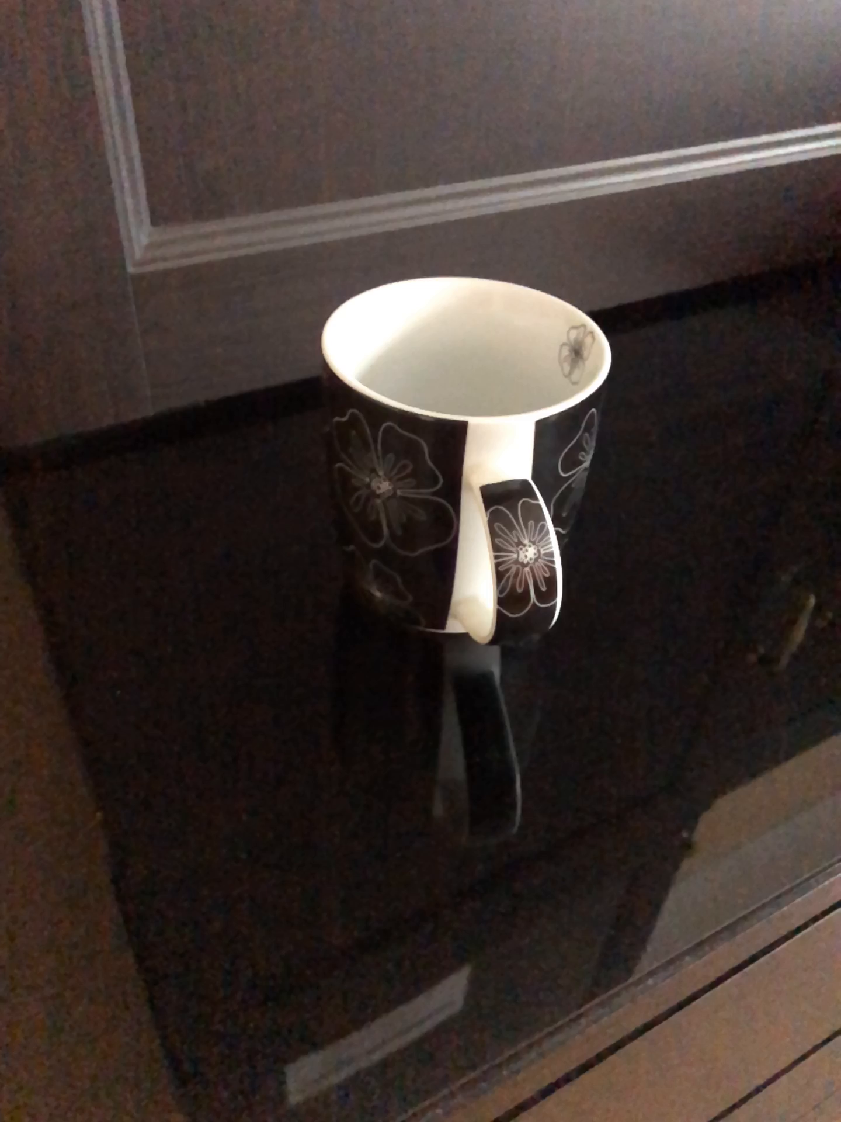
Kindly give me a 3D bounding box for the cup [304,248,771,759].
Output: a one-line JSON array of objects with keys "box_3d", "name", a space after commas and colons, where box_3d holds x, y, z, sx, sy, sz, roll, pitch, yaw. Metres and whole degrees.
[{"box_3d": [0.022, -0.024, 0.284, 0.090, 0.089, 0.121, -9, 42, -13], "name": "cup"}]
